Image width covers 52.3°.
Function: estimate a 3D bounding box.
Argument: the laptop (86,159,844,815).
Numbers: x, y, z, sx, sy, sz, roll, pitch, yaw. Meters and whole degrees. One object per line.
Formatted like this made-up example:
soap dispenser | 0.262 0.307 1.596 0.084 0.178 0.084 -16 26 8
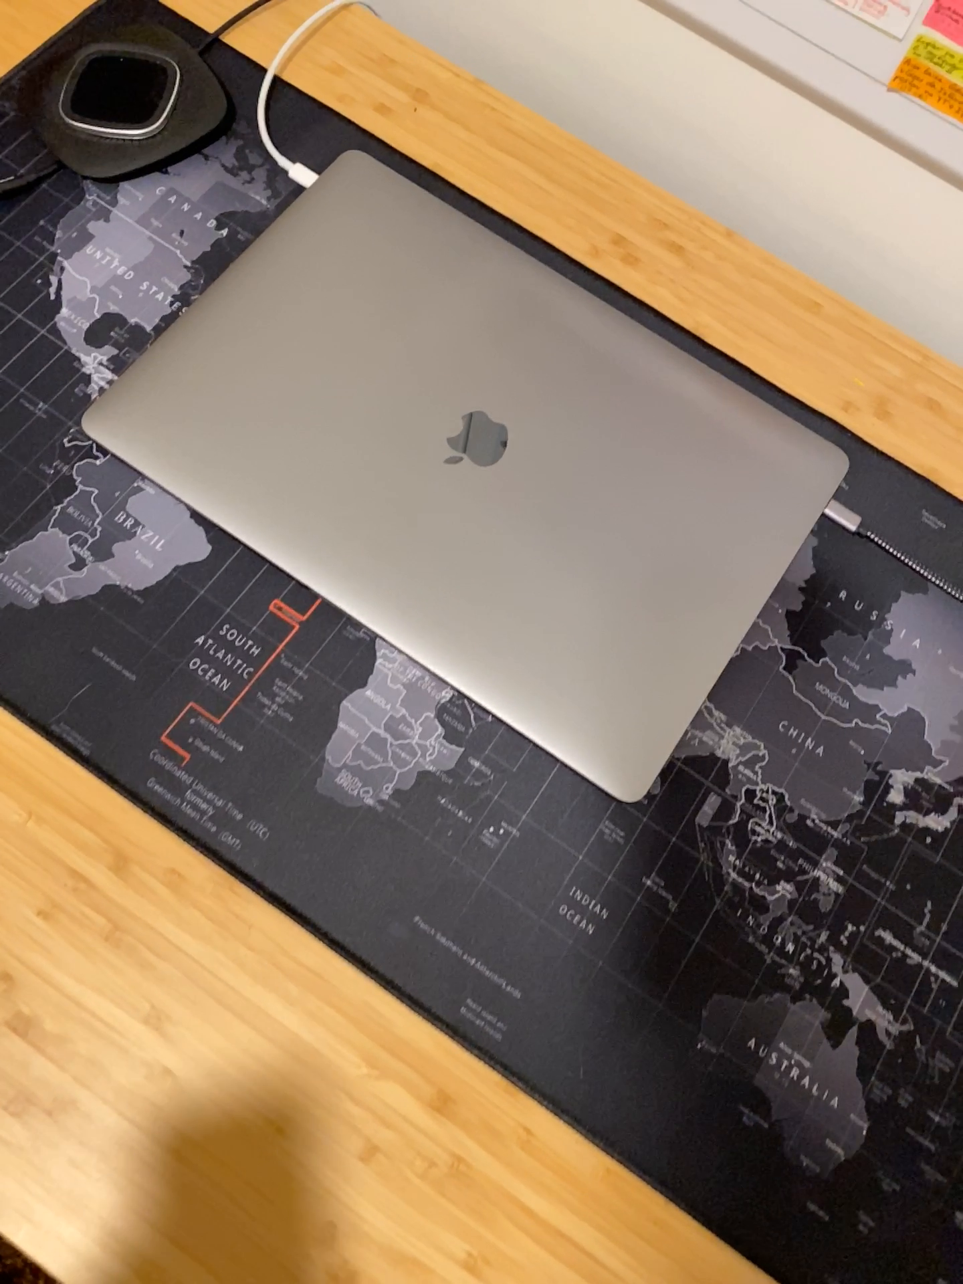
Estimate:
laptop | -0.004 -0.101 0.517 0.336 0.002 0.227 34 71 8
